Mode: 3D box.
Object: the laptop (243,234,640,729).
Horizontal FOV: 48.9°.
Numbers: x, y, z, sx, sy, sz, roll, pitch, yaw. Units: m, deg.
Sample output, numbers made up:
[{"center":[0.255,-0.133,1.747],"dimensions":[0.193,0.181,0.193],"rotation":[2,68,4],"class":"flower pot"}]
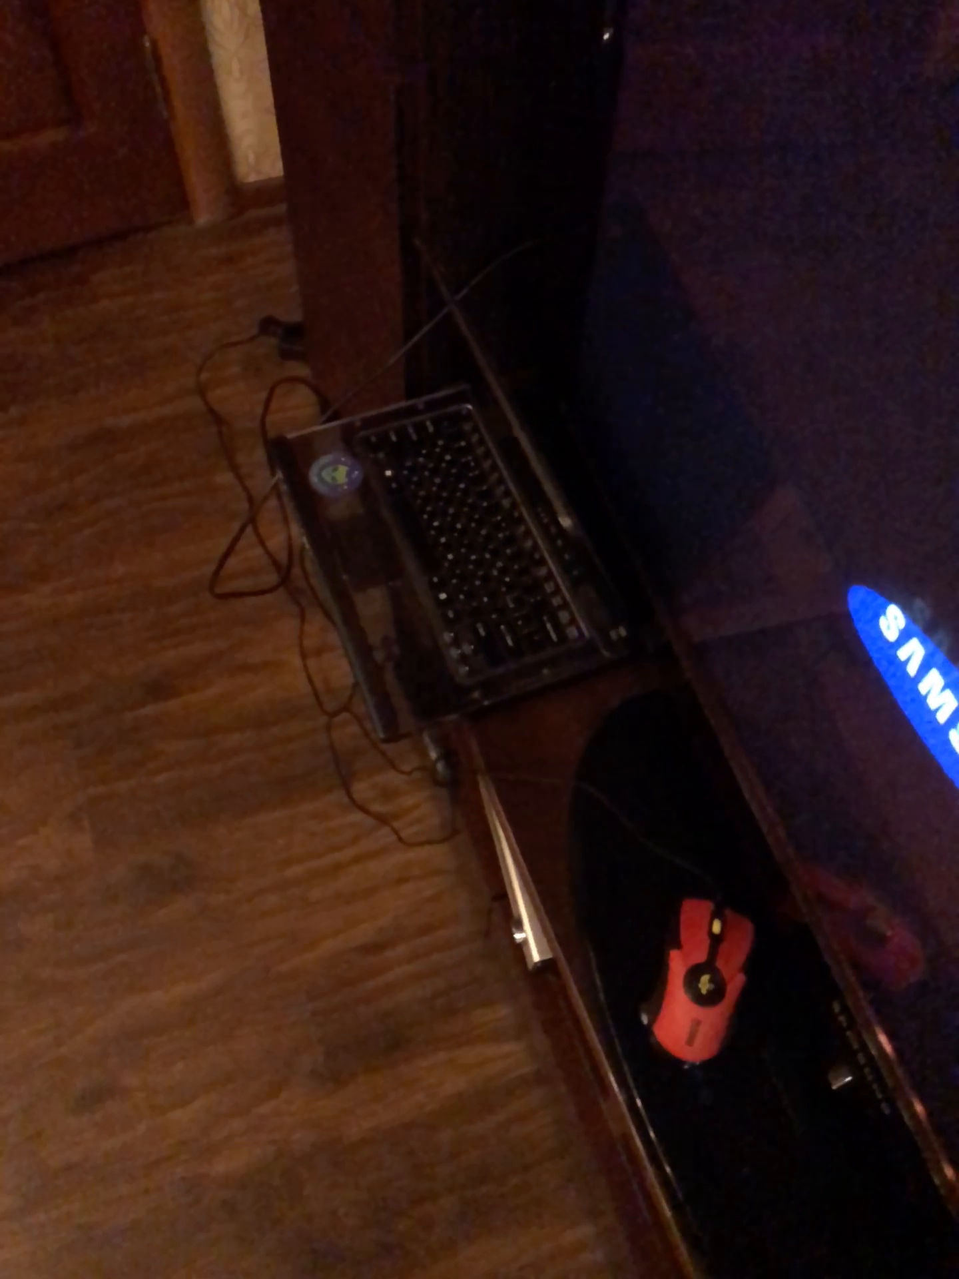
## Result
[{"center":[-0.044,-0.139,0.887],"dimensions":[0.200,0.183,0.336],"rotation":[-17,61,-13],"class":"laptop"}]
